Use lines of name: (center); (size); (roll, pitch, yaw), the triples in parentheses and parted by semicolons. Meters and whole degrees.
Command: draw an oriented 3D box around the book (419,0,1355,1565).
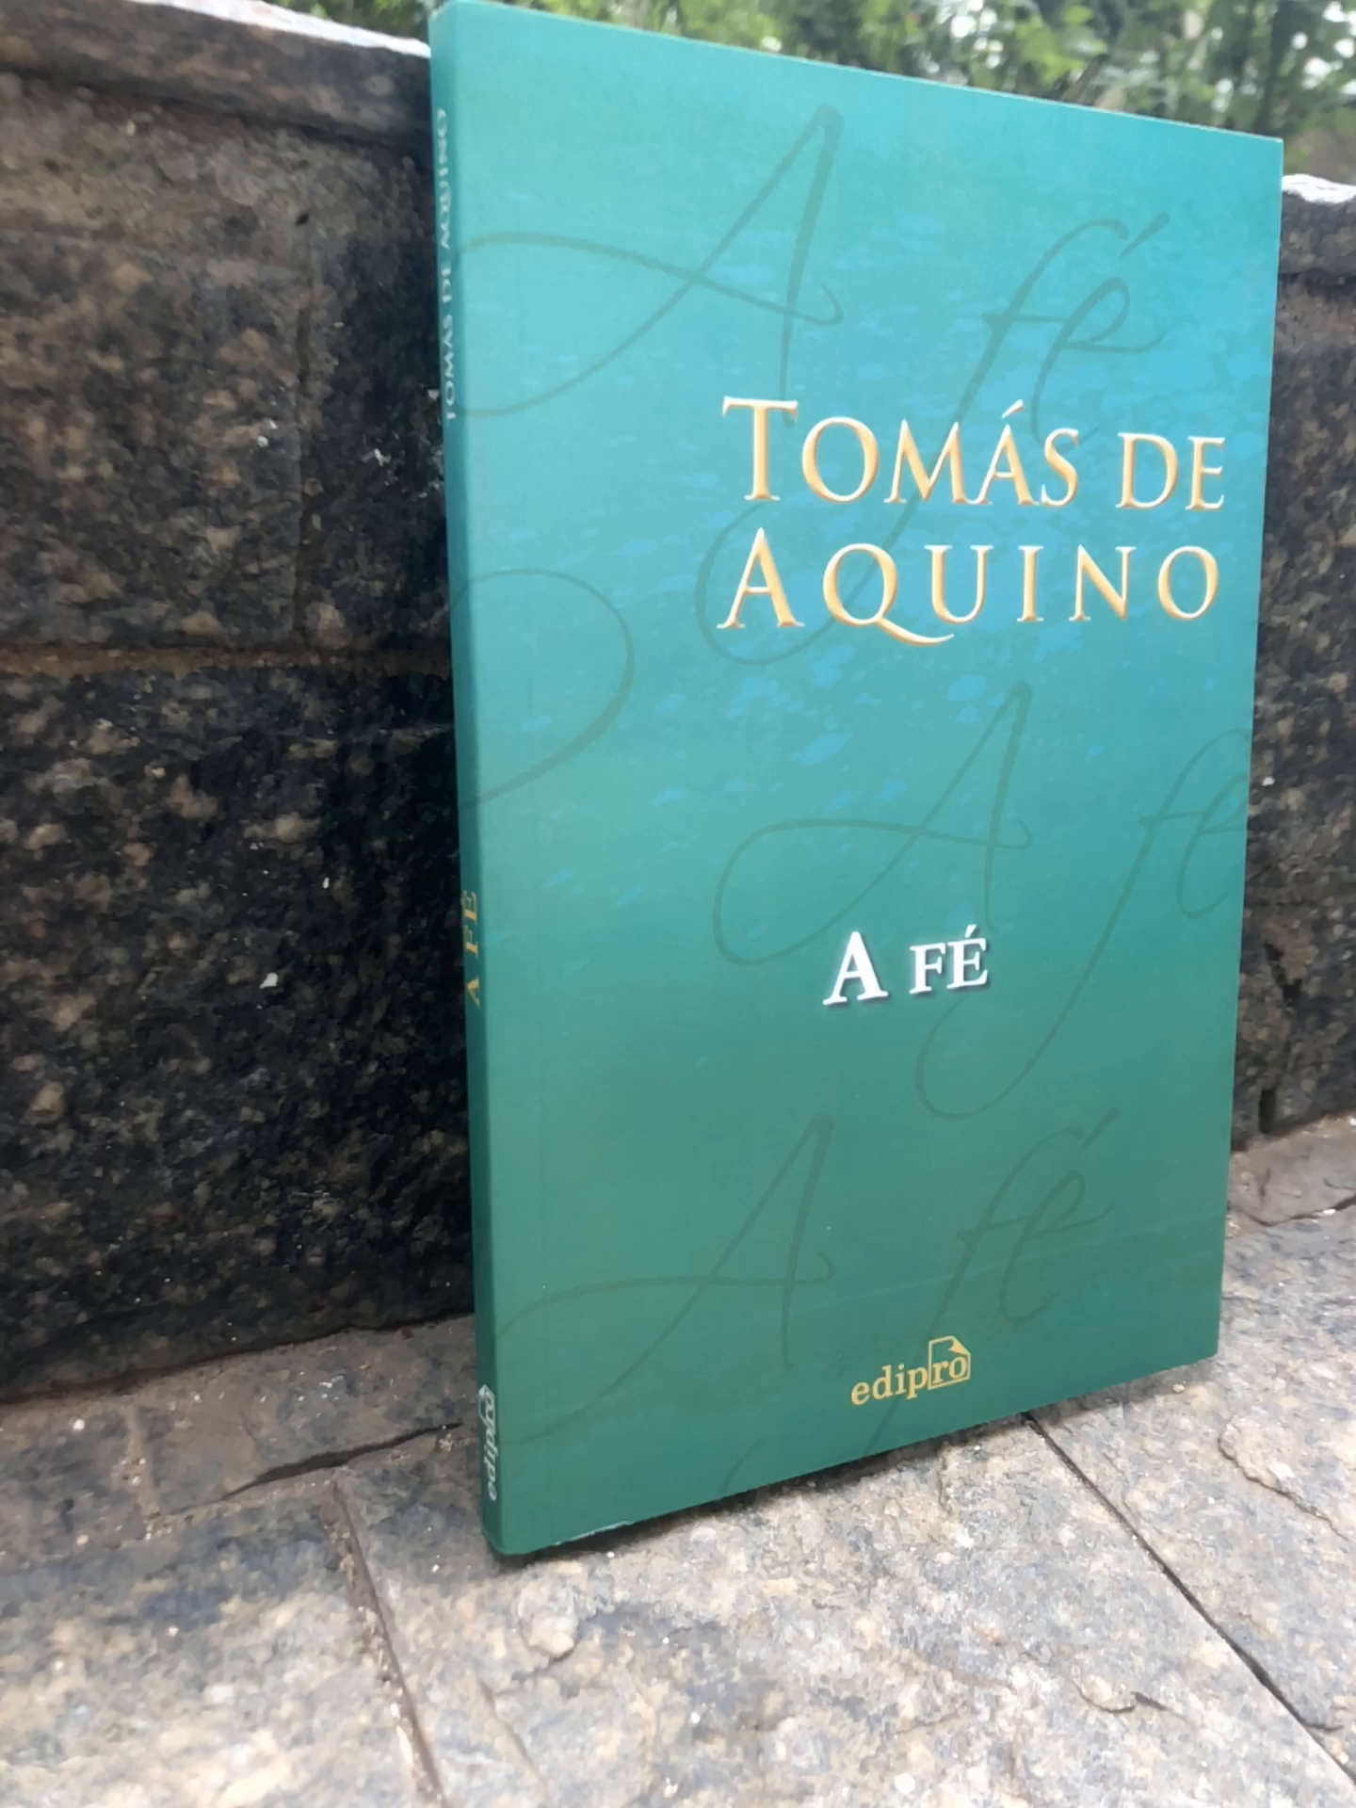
book: (0.035, -0.016, 0.226); (0.142, 0.199, 0.020); (-5, 12, -26)
